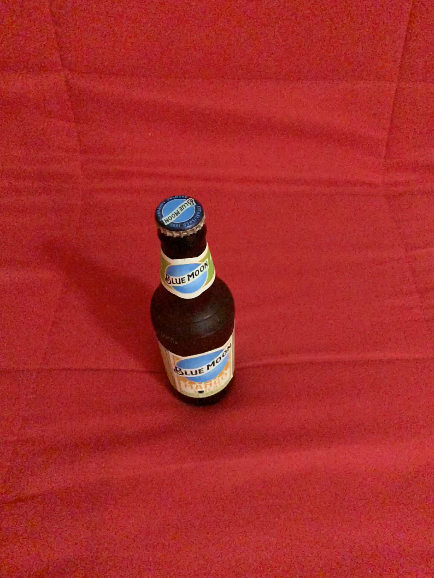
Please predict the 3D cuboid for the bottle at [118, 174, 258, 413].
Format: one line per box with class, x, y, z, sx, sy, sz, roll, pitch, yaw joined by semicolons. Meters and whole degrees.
bottle;-0.015;0.023;0.333;0.070;0.217;0.069;-1;58;1
